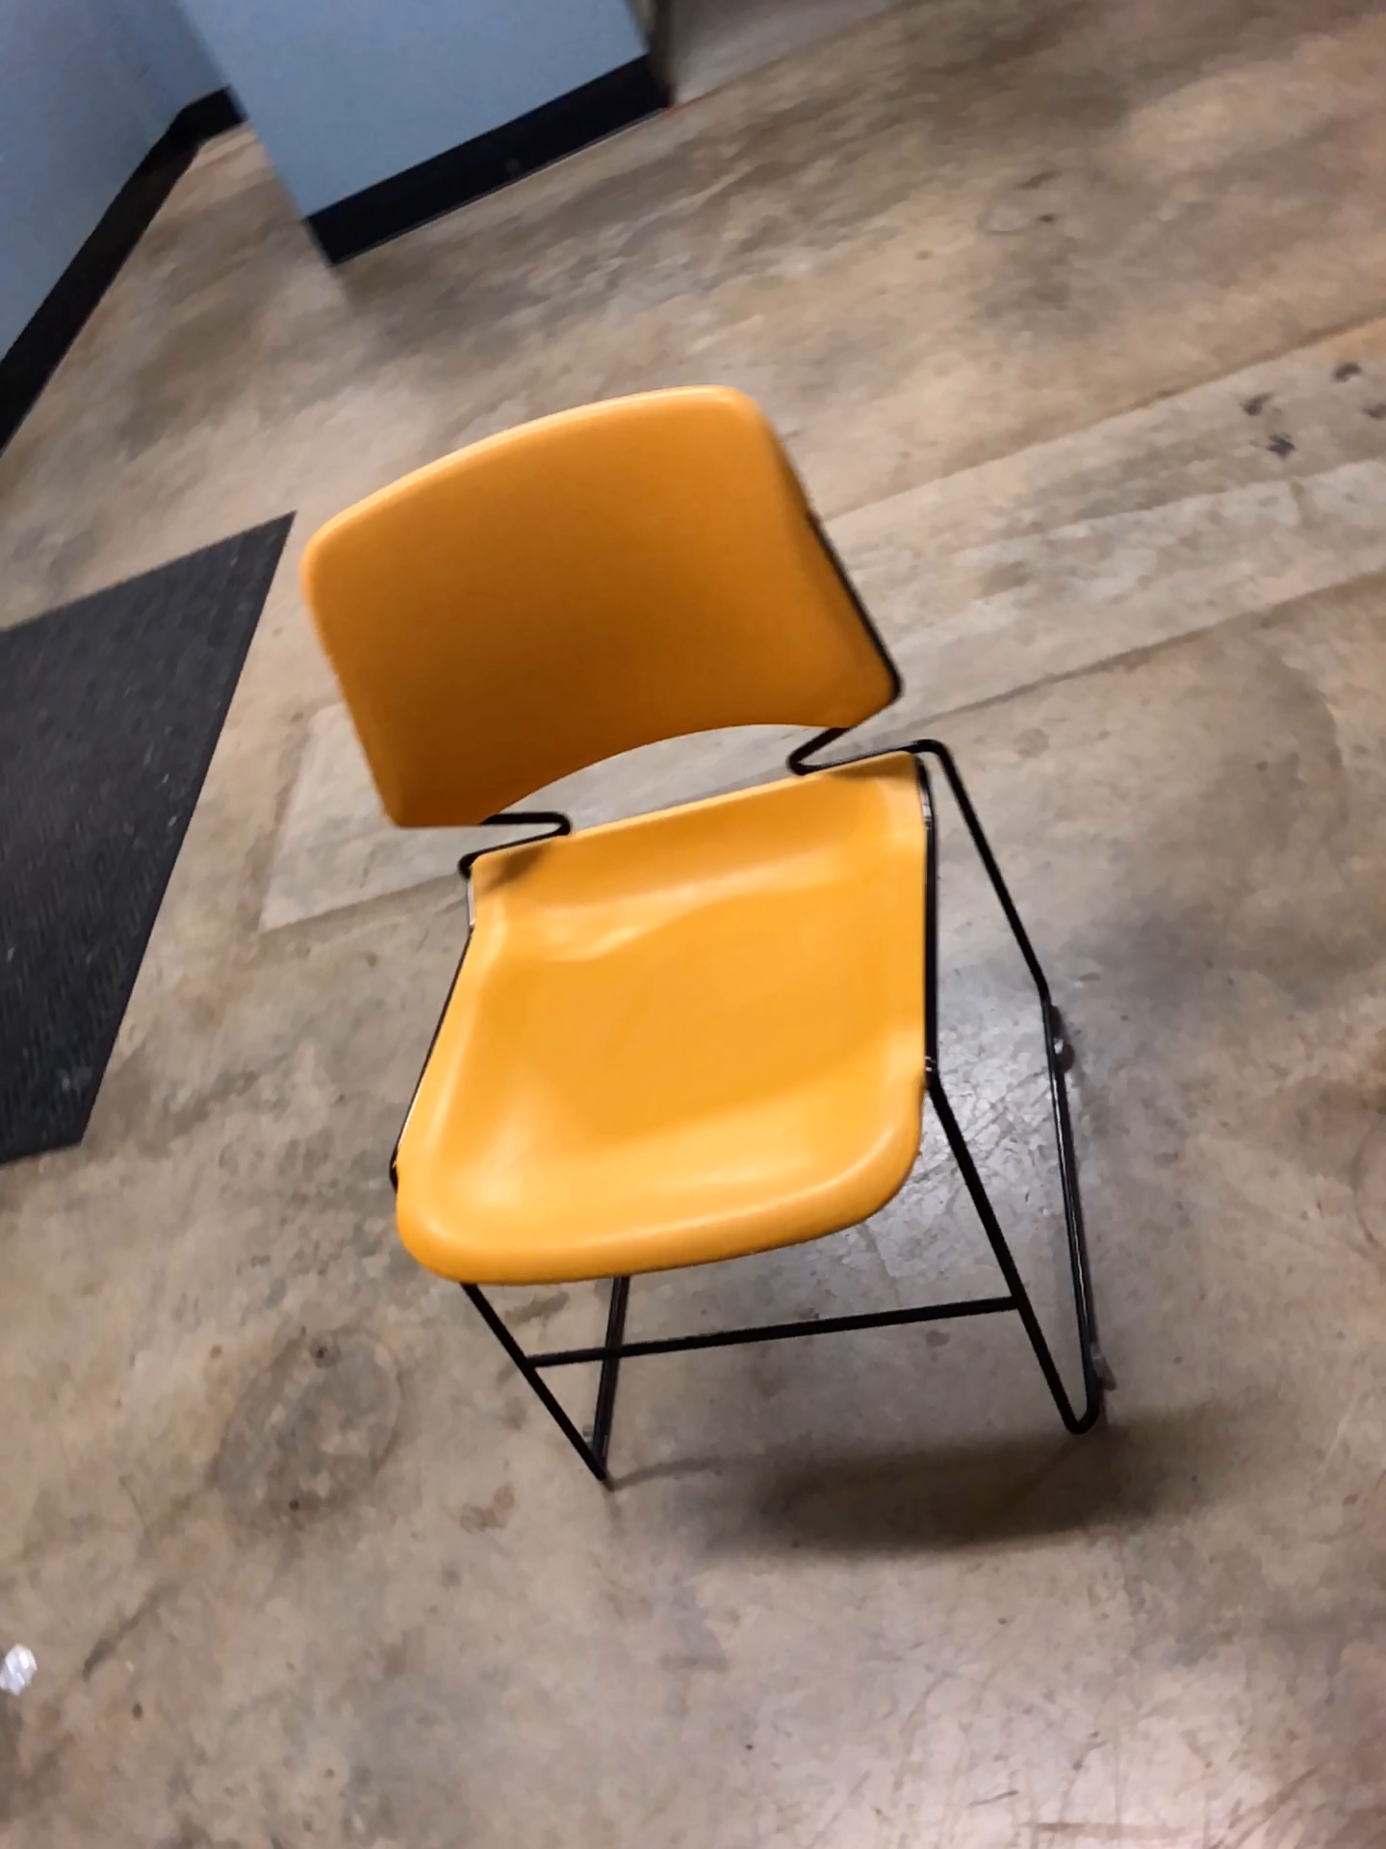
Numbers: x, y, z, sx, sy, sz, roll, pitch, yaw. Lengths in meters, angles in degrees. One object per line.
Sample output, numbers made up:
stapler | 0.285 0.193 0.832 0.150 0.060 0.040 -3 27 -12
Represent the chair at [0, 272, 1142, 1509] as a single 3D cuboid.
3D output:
chair | -0.017 0.023 1.298 0.579 0.735 0.617 -13 43 20
